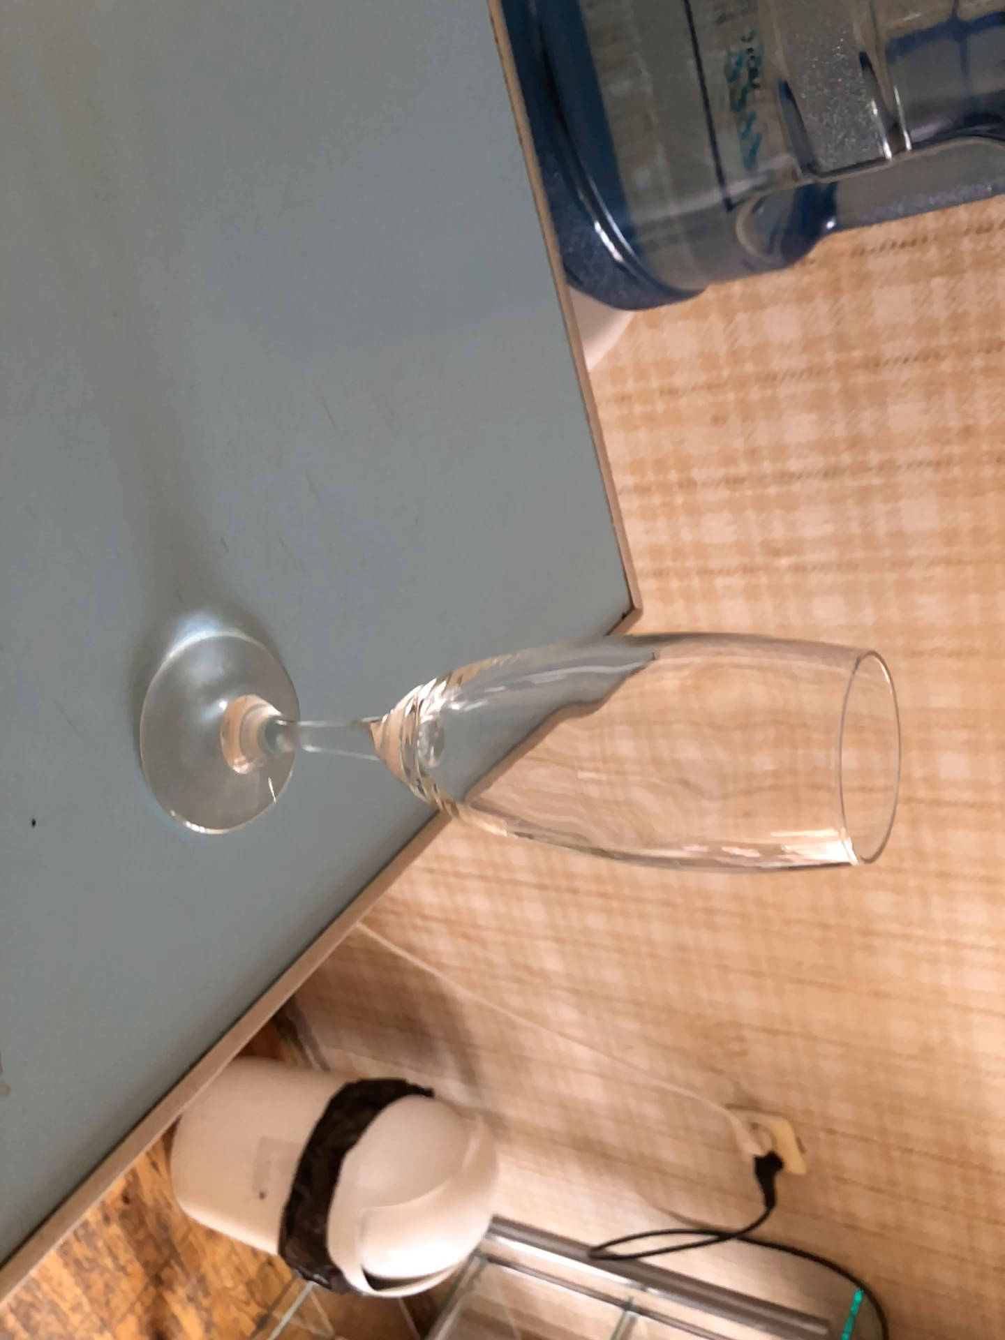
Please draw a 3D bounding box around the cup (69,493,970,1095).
[{"bbox_3d":[0.003,0.024,0.292,0.090,0.199,0.090,0,90,-56],"label":"cup"}]
